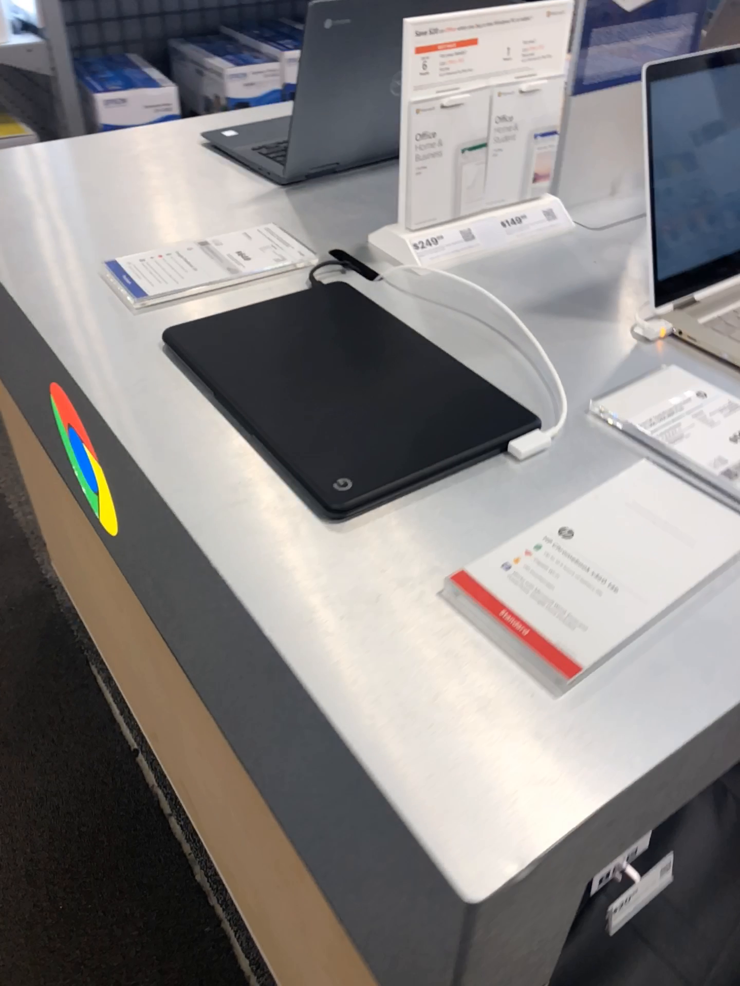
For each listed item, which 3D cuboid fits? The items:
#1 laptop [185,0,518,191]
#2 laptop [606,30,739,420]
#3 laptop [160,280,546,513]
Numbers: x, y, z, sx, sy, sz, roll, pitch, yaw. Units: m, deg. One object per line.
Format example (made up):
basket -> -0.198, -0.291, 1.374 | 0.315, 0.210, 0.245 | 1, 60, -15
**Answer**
laptop -> -0.030, -0.581, 1.097 | 0.299, 0.196, 0.293 | -26, 46, -27
laptop -> 0.441, -0.261, 0.728 | 0.303, 0.206, 0.275 | -24, 44, -26
laptop -> -0.026, -0.100, 0.687 | 0.194, 0.001, 0.297 | -23, 46, -26
